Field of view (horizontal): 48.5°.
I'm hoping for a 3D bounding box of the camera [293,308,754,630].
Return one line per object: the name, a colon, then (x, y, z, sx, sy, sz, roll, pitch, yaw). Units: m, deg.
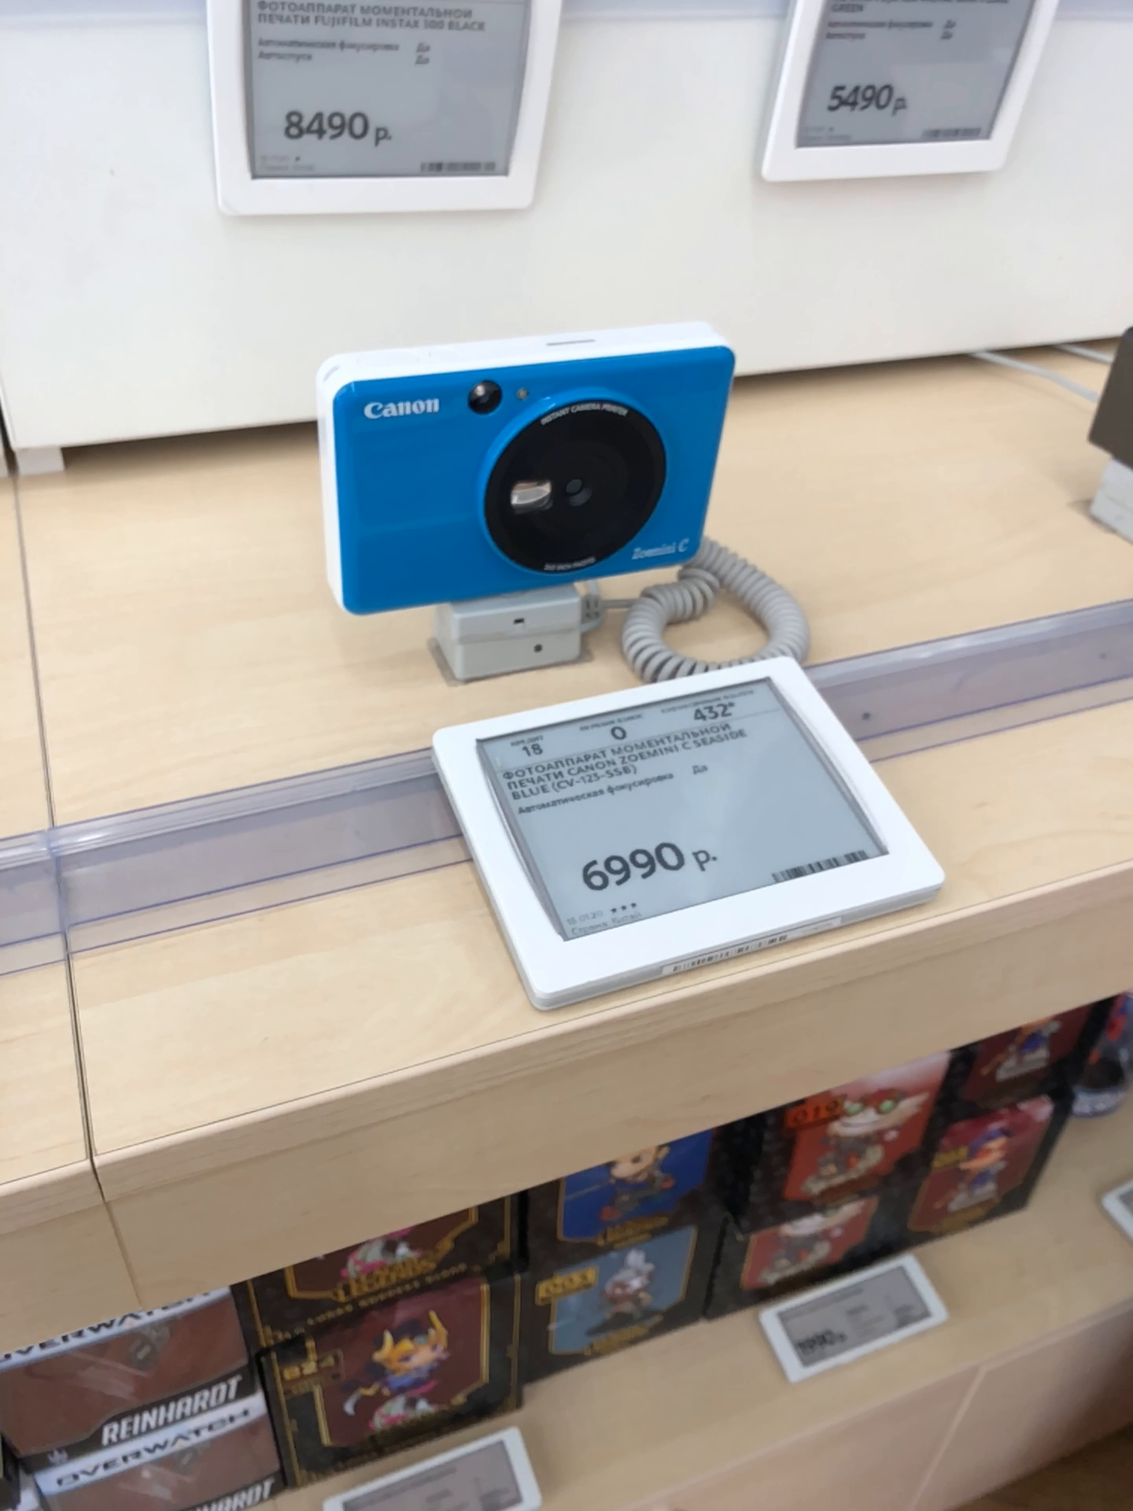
camera: (-0.012, -0.082, 0.360, 0.120, 0.070, 0.030, -12, 47, -17)
